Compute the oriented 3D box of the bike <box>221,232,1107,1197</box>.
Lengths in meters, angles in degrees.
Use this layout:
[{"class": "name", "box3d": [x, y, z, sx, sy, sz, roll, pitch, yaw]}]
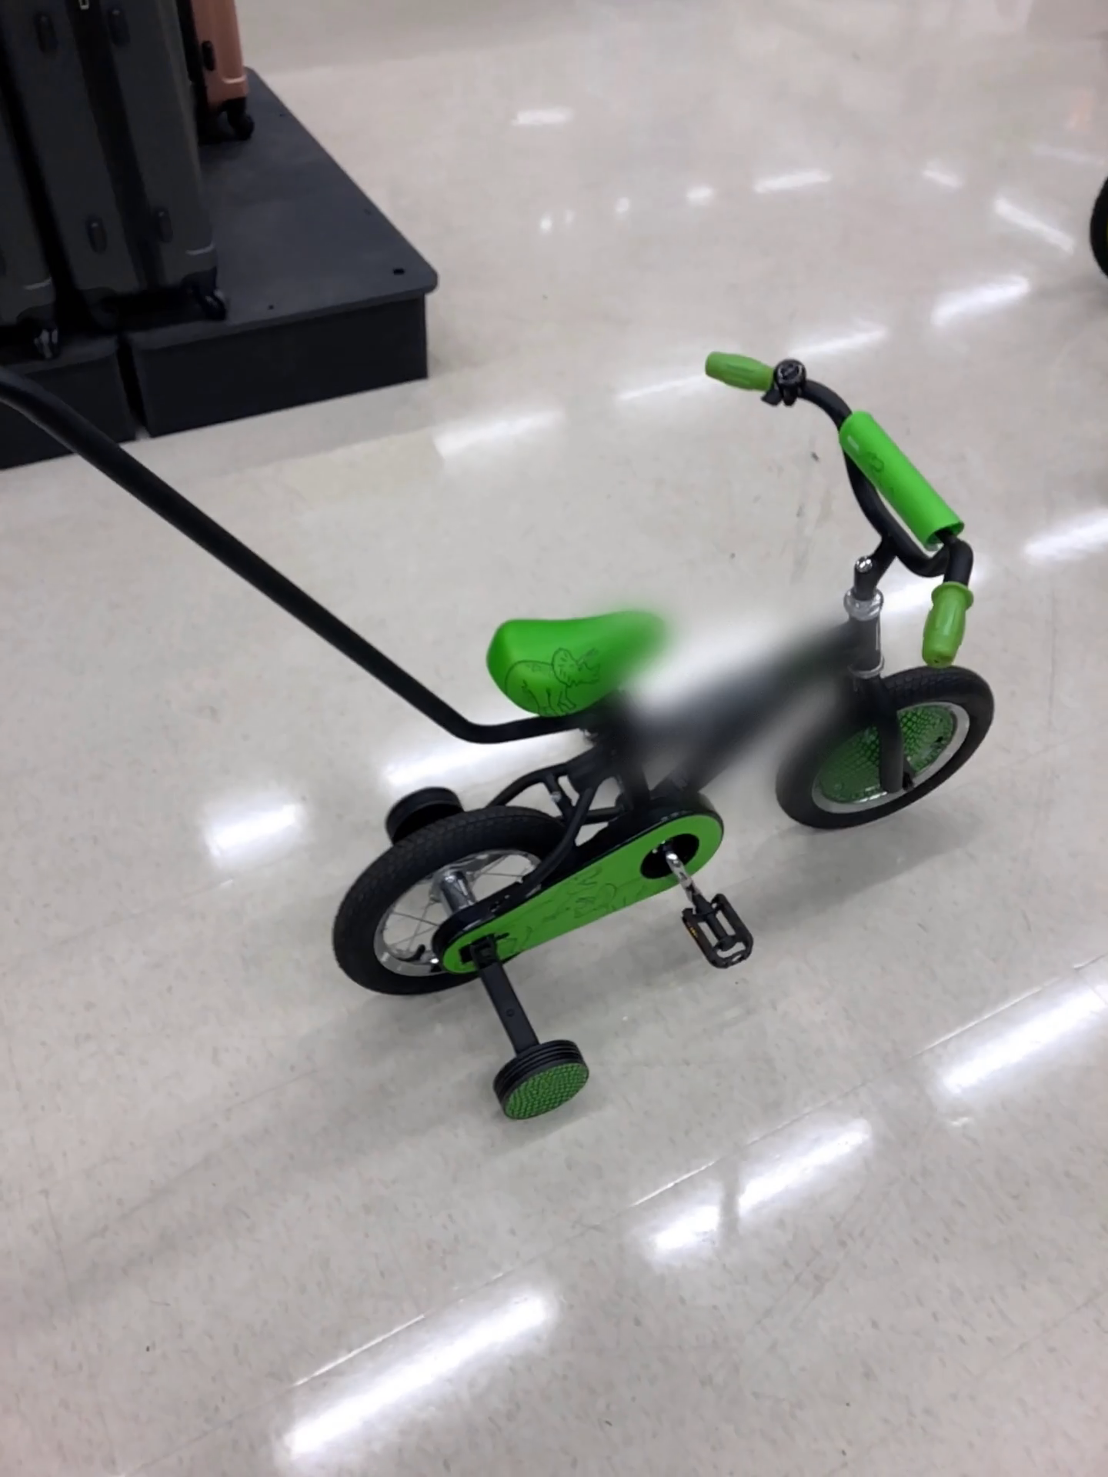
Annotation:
[{"class": "bike", "box3d": [0.161, -0.040, 1.307, 0.846, 0.599, 0.493, -19, 50, -15]}]
